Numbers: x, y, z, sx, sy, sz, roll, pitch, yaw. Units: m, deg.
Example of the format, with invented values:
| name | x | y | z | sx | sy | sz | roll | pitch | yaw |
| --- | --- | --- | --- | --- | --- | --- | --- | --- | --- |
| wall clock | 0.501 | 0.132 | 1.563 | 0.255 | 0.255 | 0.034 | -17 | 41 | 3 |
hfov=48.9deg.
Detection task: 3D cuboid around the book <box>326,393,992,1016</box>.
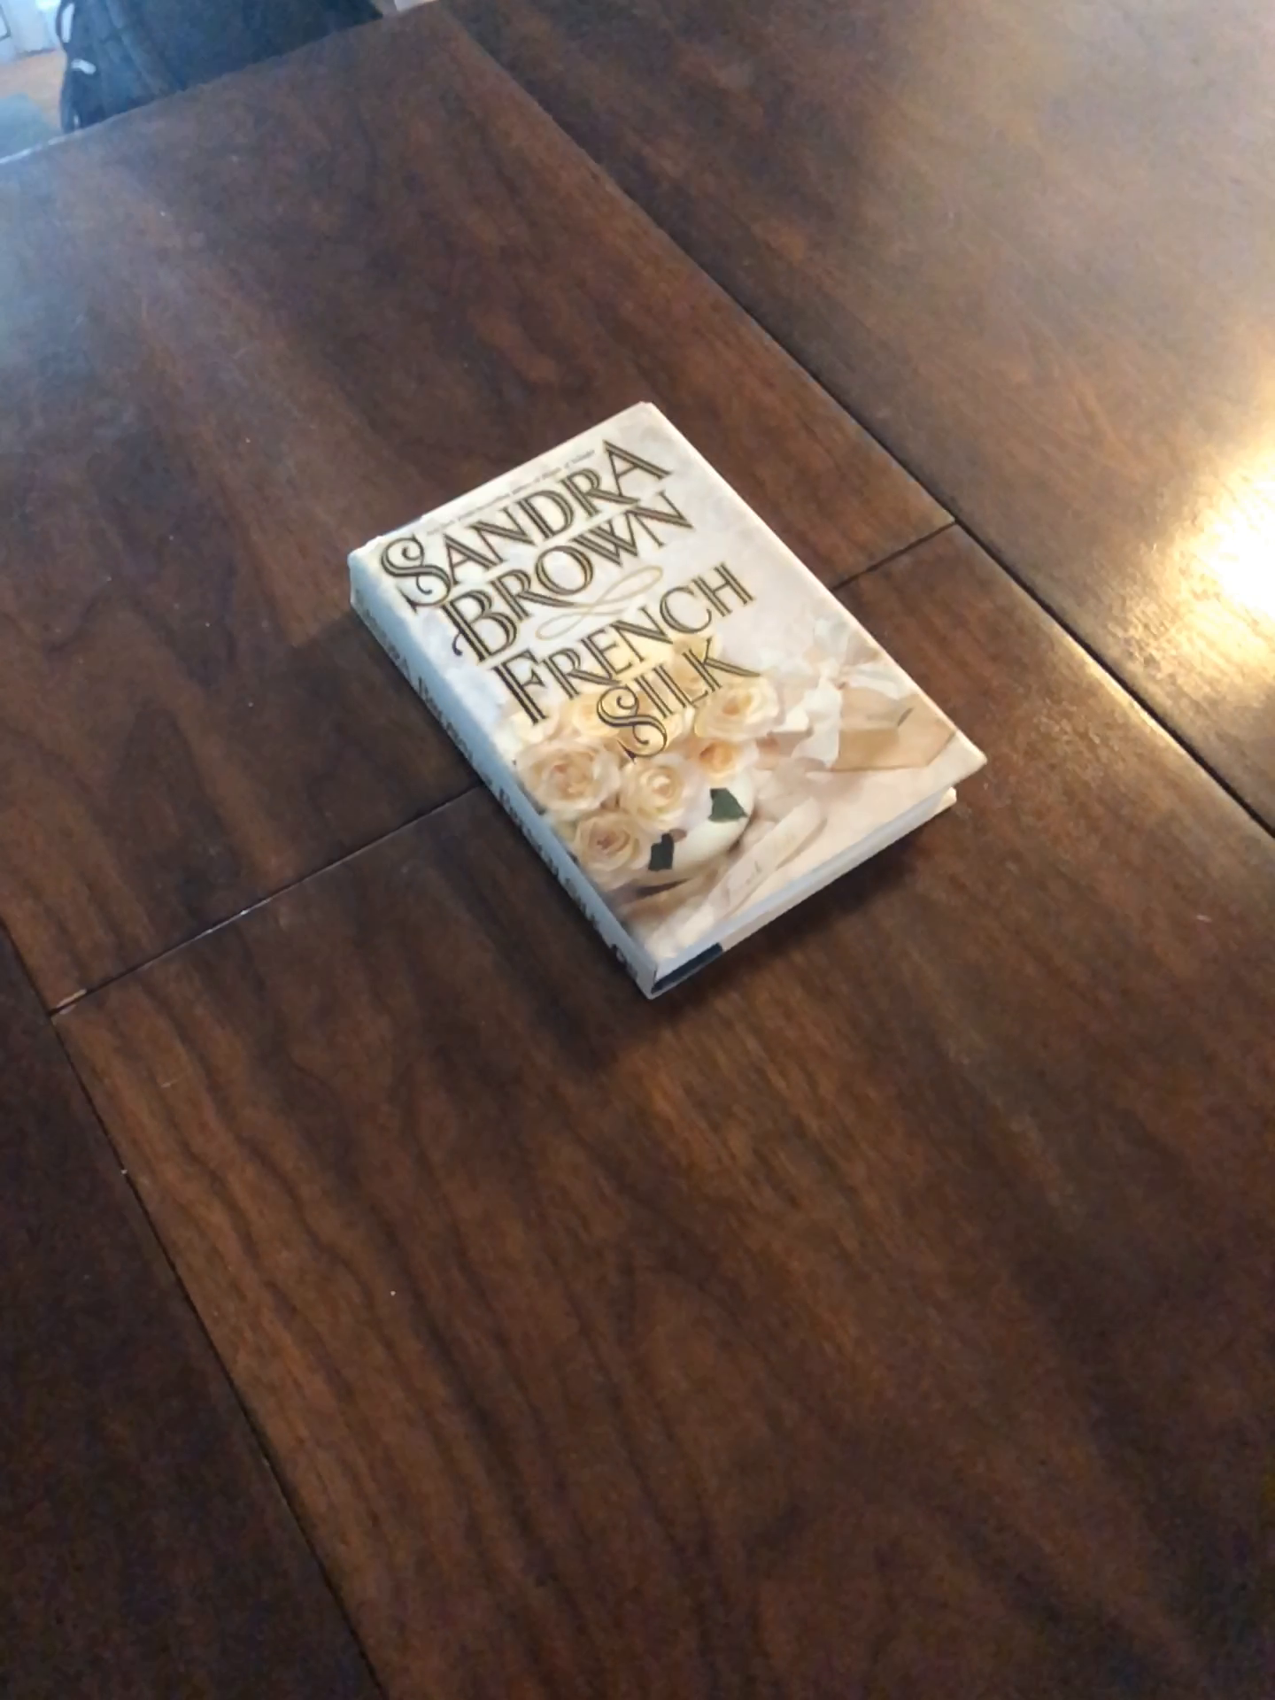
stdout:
| name | x | y | z | sx | sy | sz | roll | pitch | yaw |
| --- | --- | --- | --- | --- | --- | --- | --- | --- | --- |
| book | 0.003 | -0.073 | 0.582 | 0.161 | 0.033 | 0.240 | -32 | 66 | -16 |
